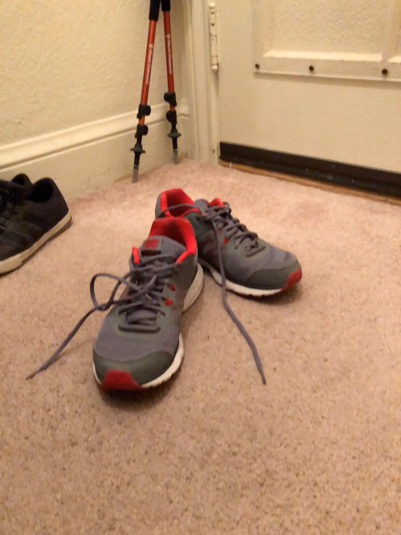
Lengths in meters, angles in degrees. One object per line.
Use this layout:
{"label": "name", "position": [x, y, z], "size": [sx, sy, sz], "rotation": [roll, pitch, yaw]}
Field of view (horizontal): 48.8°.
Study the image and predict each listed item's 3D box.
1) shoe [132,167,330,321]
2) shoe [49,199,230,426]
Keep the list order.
{"label": "shoe", "position": [0.035, -0.053, 0.689], "size": [0.113, 0.119, 0.298], "rotation": [-29, 40, -35]}
{"label": "shoe", "position": [-0.049, 0.030, 0.563], "size": [0.113, 0.119, 0.299], "rotation": [5, 33, 14]}
